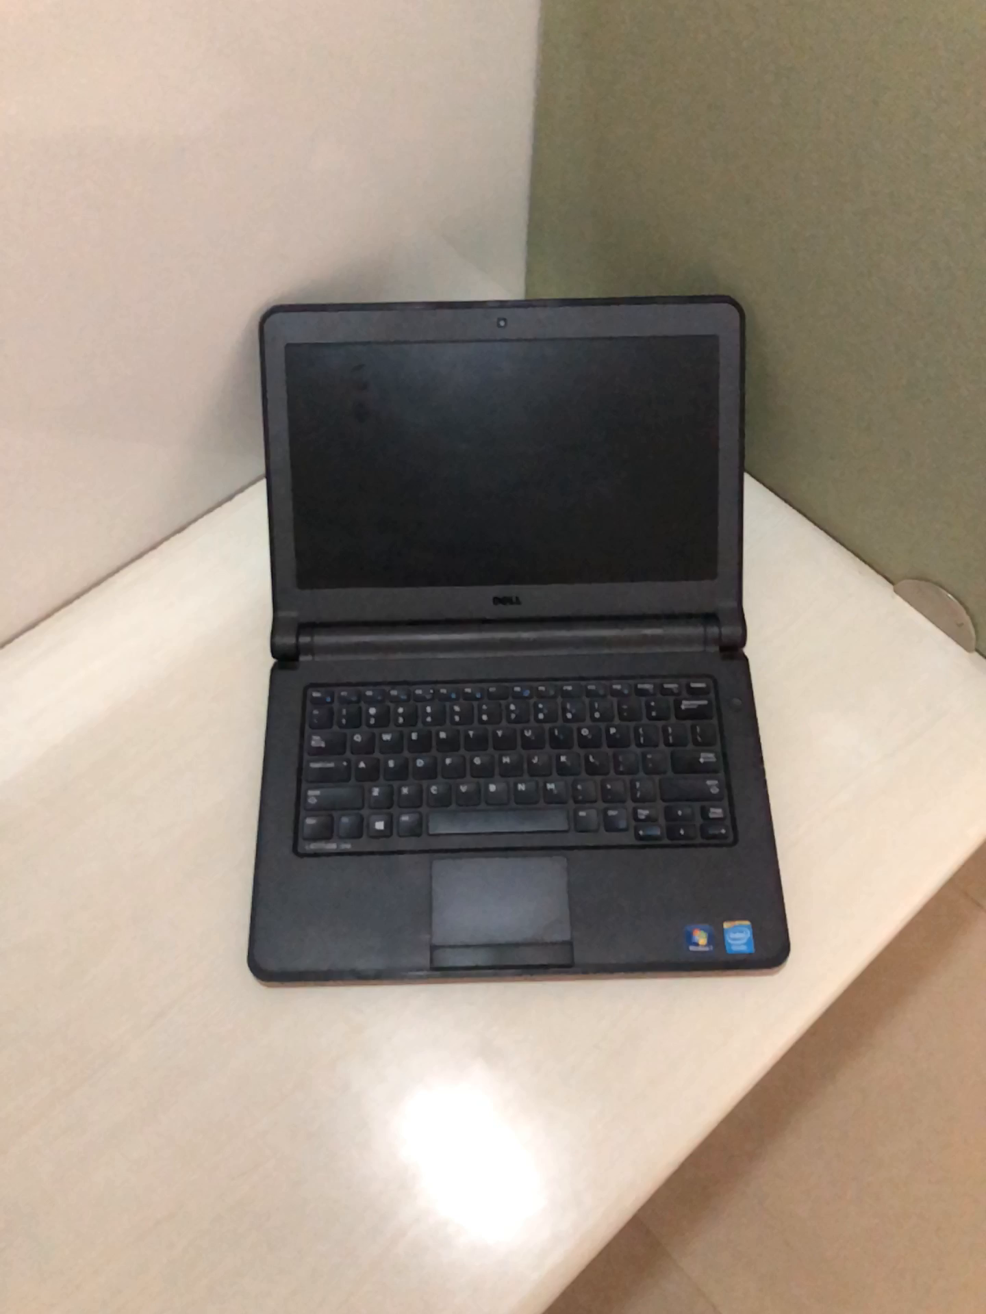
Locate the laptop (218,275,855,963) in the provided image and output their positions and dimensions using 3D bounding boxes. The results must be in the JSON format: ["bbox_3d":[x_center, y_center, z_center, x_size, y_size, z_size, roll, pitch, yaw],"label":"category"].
[{"bbox_3d":[0.018,-0.033,0.670,0.309,0.128,0.396,-1,63,1],"label":"laptop"}]
